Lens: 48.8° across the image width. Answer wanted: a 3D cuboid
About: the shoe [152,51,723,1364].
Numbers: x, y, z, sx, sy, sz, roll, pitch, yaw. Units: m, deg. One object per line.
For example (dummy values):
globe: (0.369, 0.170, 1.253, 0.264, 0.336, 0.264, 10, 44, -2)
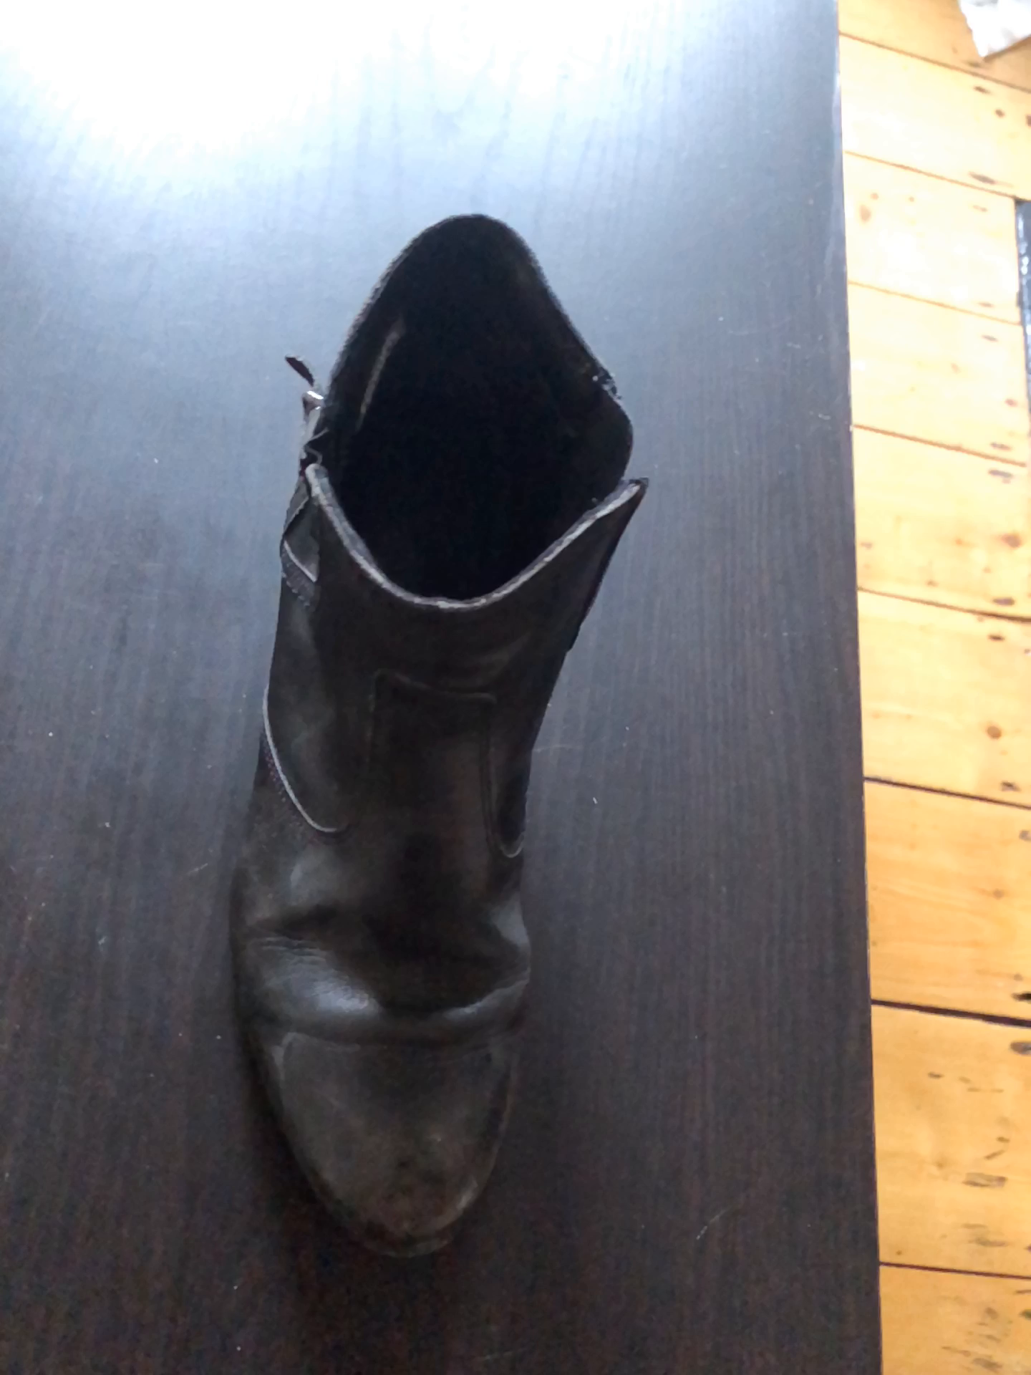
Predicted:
shoe: (-0.027, 0.009, 0.305, 0.090, 0.169, 0.271, 5, 68, -11)
